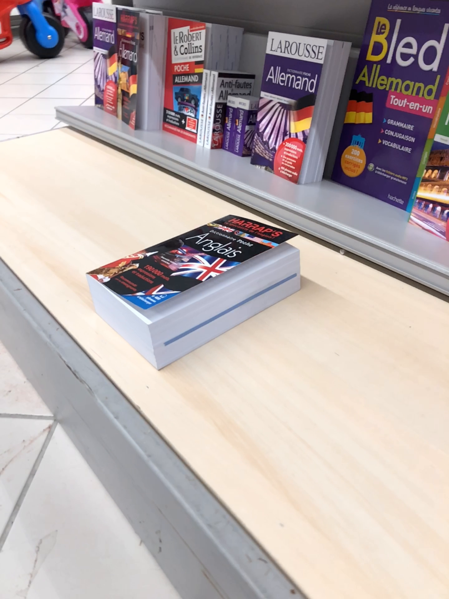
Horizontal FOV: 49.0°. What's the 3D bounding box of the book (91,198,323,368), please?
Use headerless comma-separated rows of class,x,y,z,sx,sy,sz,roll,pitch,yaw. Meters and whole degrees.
book,-0.012,-0.028,0.469,0.182,0.057,0.115,-27,42,-31
